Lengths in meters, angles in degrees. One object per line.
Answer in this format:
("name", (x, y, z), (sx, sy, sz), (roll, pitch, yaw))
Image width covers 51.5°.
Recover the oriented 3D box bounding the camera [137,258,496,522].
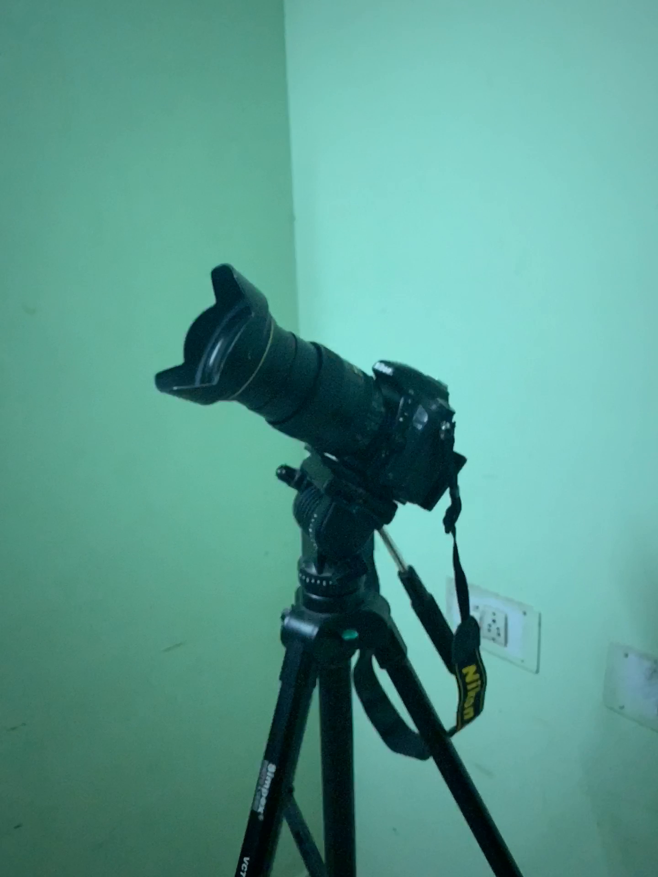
("camera", (-0.013, -0.043, 0.596), (0.248, 0.120, 0.152), (23, 3, -29))
